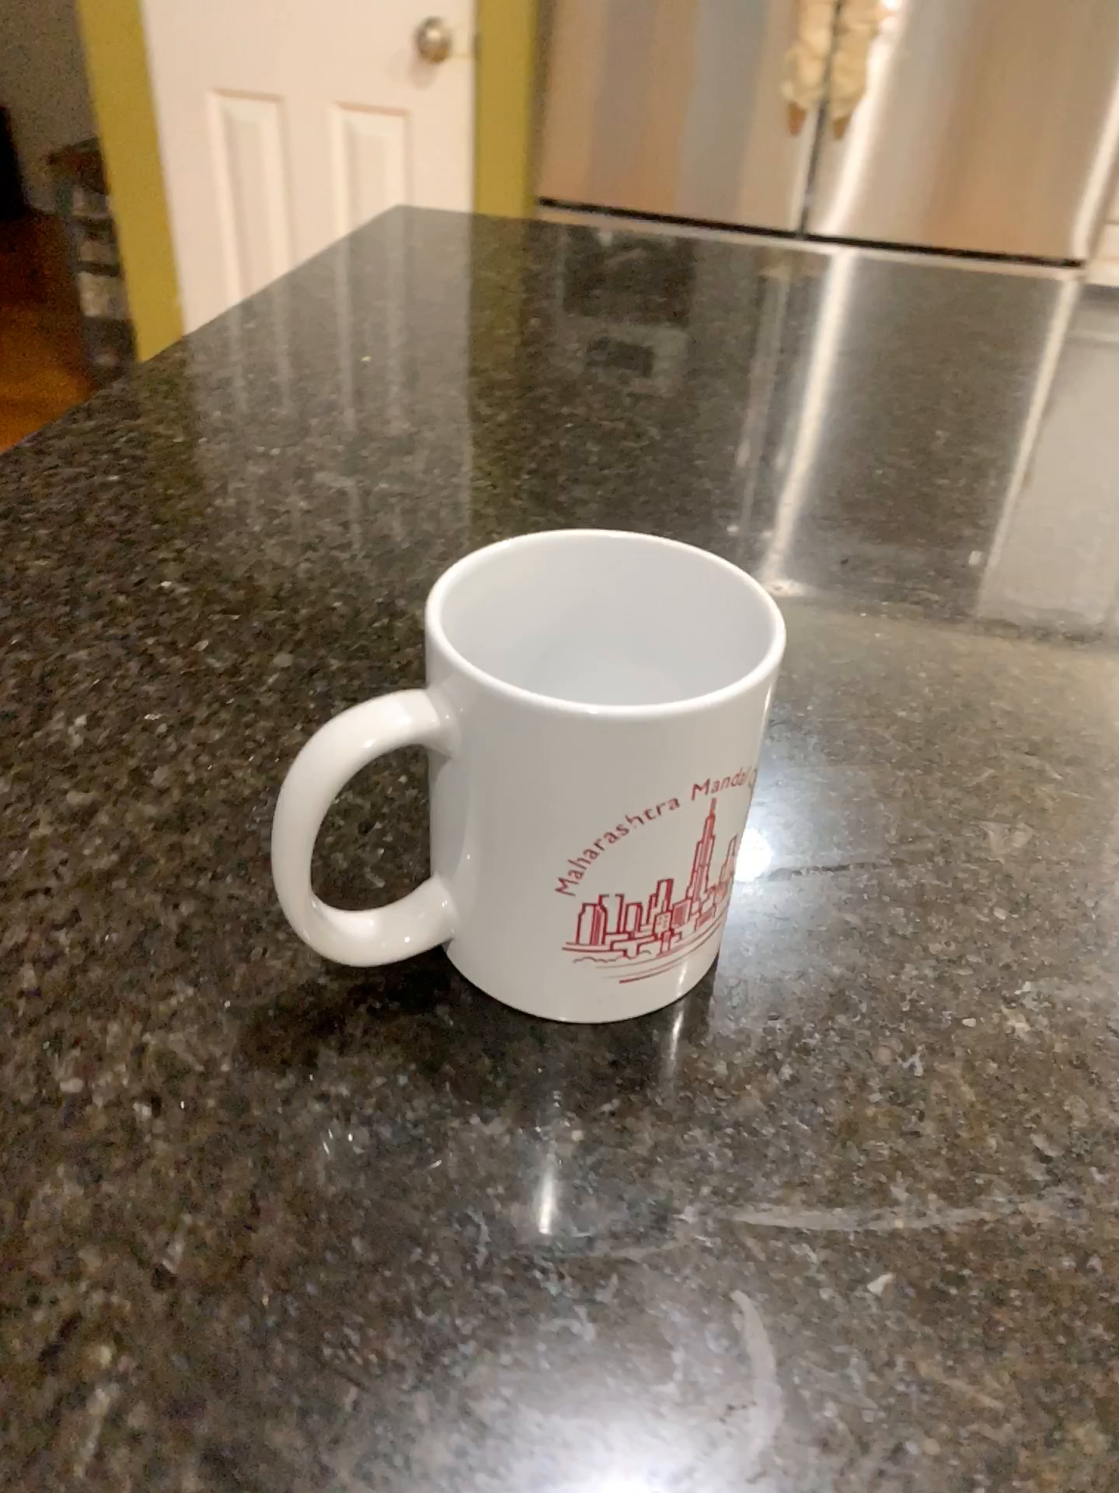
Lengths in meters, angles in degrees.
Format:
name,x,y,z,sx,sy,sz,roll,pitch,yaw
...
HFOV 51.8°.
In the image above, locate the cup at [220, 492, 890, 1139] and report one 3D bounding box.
name,x,y,z,sx,sy,sz,roll,pitch,yaw
cup,-0.003,0.010,0.282,0.124,0.097,0.082,-17,41,-25
